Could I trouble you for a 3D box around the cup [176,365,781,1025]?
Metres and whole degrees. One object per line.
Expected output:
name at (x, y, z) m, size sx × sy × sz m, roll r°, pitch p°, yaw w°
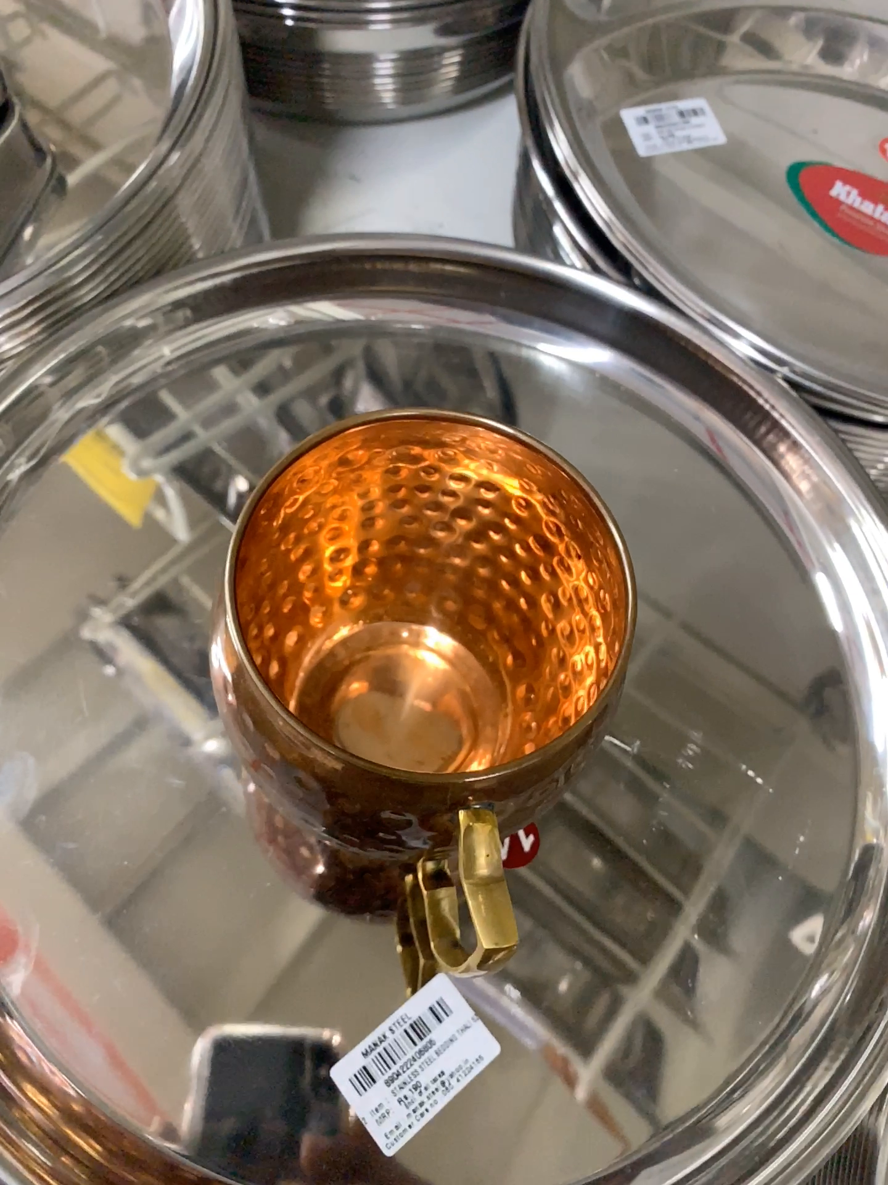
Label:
cup at (-0.002, 0.027, 0.204) m, size 0.090 × 0.090 × 0.110 m, roll -6°, pitch 67°, yaw -6°
